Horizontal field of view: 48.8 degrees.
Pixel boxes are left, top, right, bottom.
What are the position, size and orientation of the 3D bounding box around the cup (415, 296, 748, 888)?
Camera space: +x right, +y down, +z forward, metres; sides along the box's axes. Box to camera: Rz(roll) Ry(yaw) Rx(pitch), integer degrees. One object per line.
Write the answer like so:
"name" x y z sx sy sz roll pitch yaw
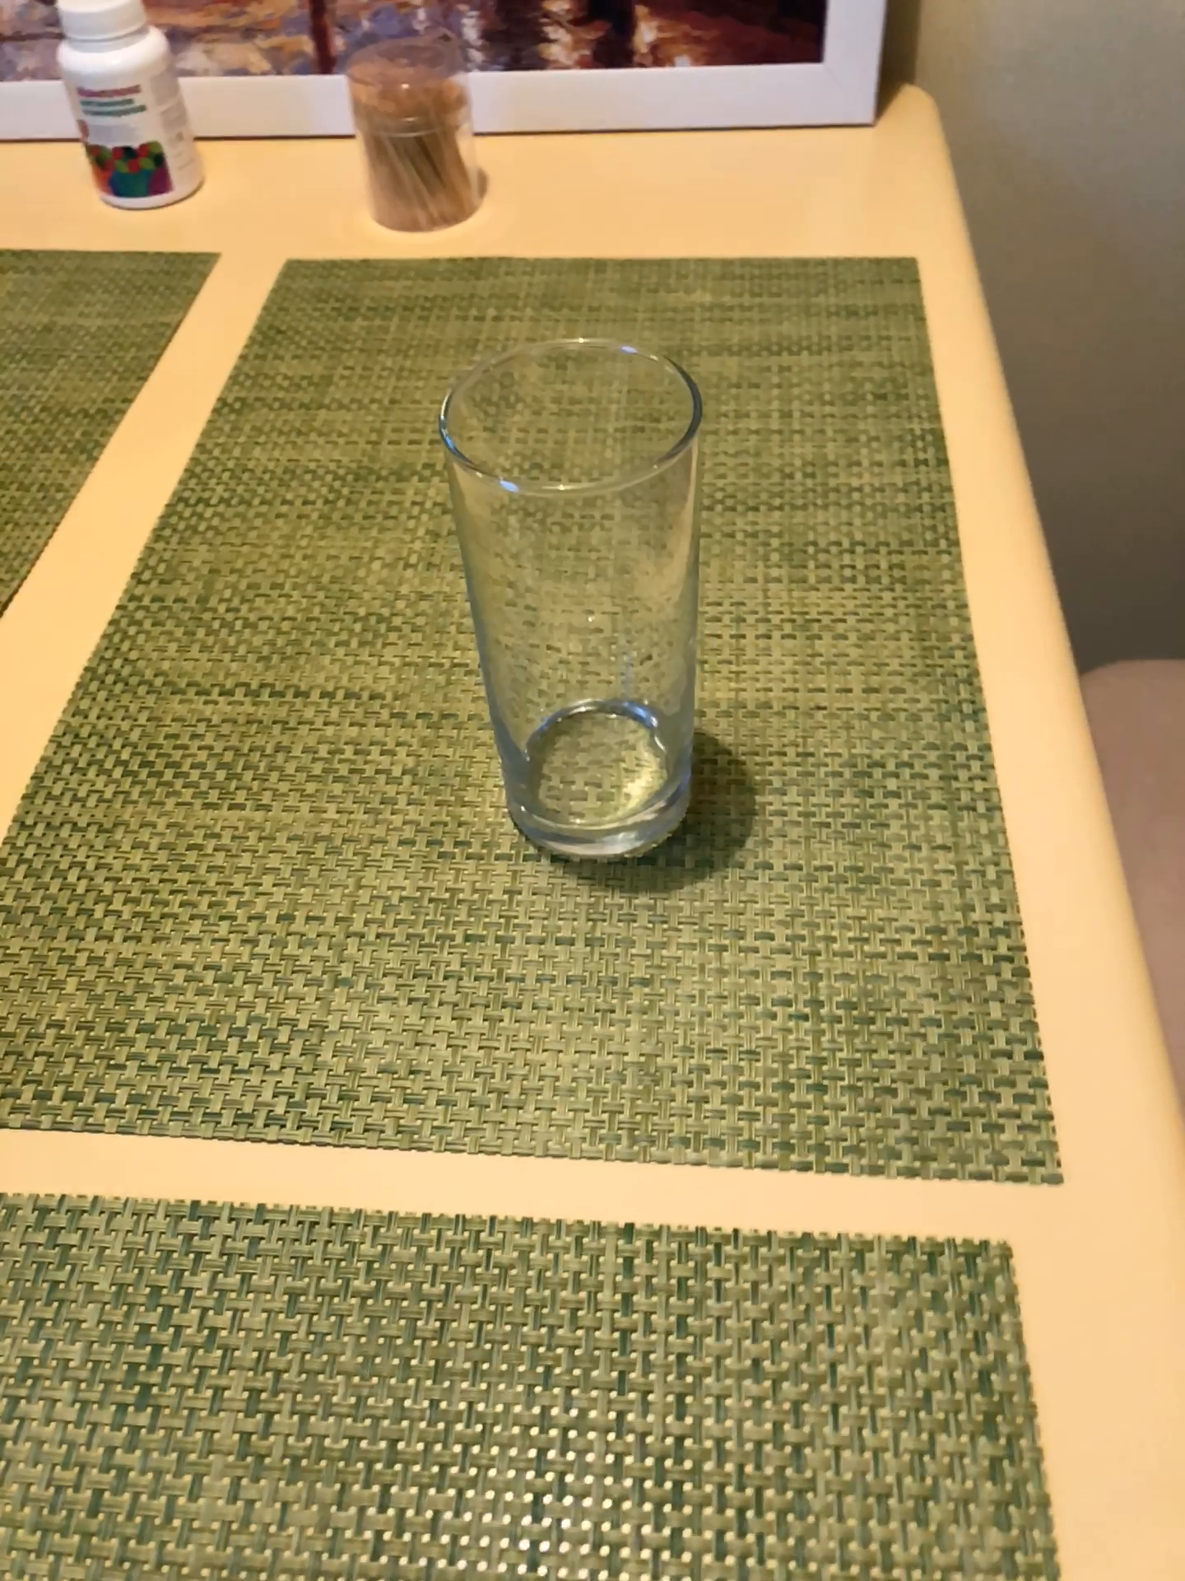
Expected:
"cup" -0.003 -0.047 0.353 0.070 0.139 0.070 -1 48 2
